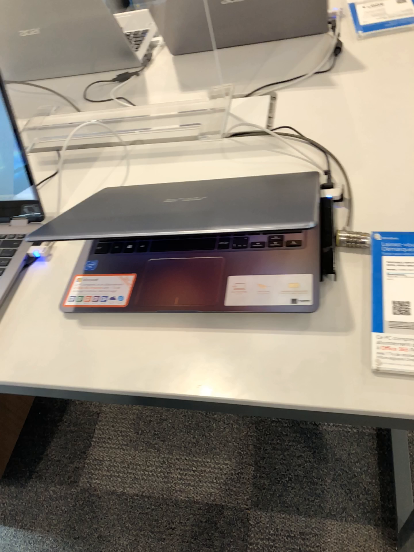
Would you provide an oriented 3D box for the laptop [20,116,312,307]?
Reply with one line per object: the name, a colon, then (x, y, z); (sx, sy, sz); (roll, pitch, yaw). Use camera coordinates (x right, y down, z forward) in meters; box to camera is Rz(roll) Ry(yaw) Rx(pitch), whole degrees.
laptop: (-0.030, -0.074, 0.545); (0.300, 0.099, 0.201); (-1, 52, 14)
